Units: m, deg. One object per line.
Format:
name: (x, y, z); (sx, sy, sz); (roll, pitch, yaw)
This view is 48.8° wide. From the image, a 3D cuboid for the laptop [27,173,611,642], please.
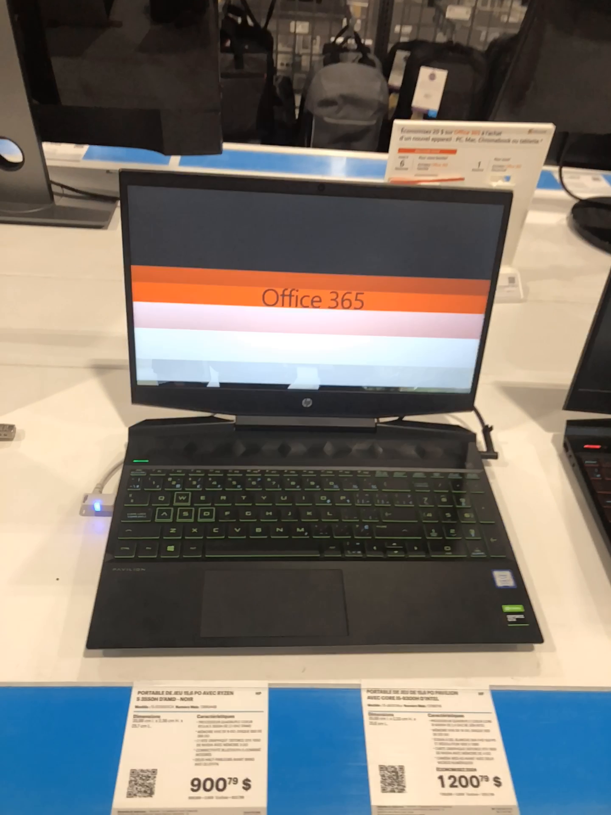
laptop: (0.011, -0.010, 0.569); (0.355, 0.232, 0.317); (2, 40, -7)
